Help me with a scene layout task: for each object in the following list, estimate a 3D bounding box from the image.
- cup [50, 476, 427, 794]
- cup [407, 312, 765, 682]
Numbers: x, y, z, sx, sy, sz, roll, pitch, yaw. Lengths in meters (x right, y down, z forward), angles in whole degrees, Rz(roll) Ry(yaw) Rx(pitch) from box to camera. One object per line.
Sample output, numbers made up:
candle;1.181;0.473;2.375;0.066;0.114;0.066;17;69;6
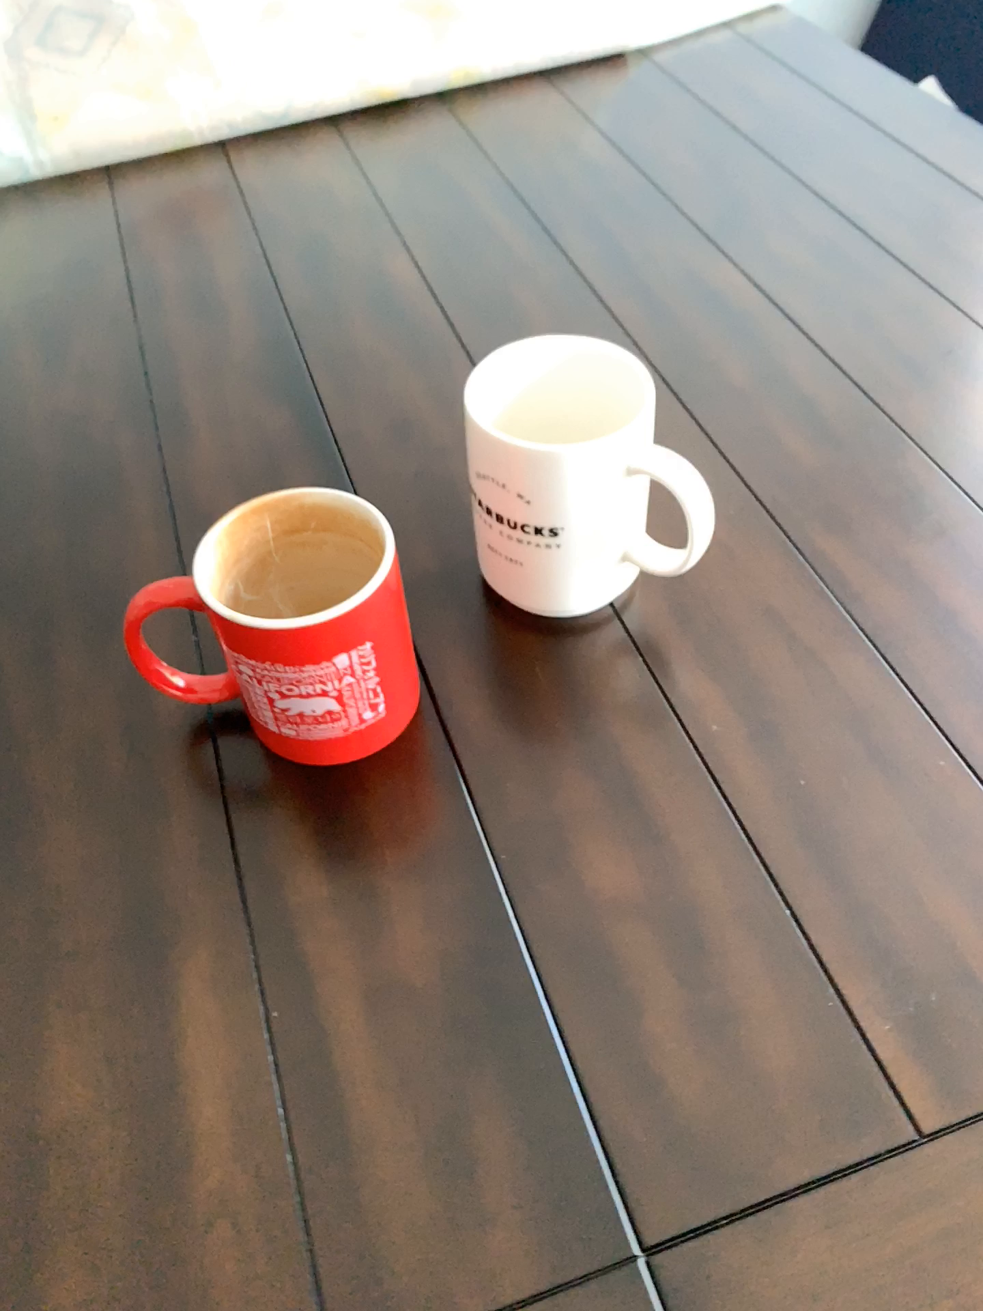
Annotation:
cup;-0.100;-0.007;0.450;0.130;0.100;0.090;-3;49;2
cup;0.043;-0.075;0.477;0.130;0.110;0.080;26;56;25
